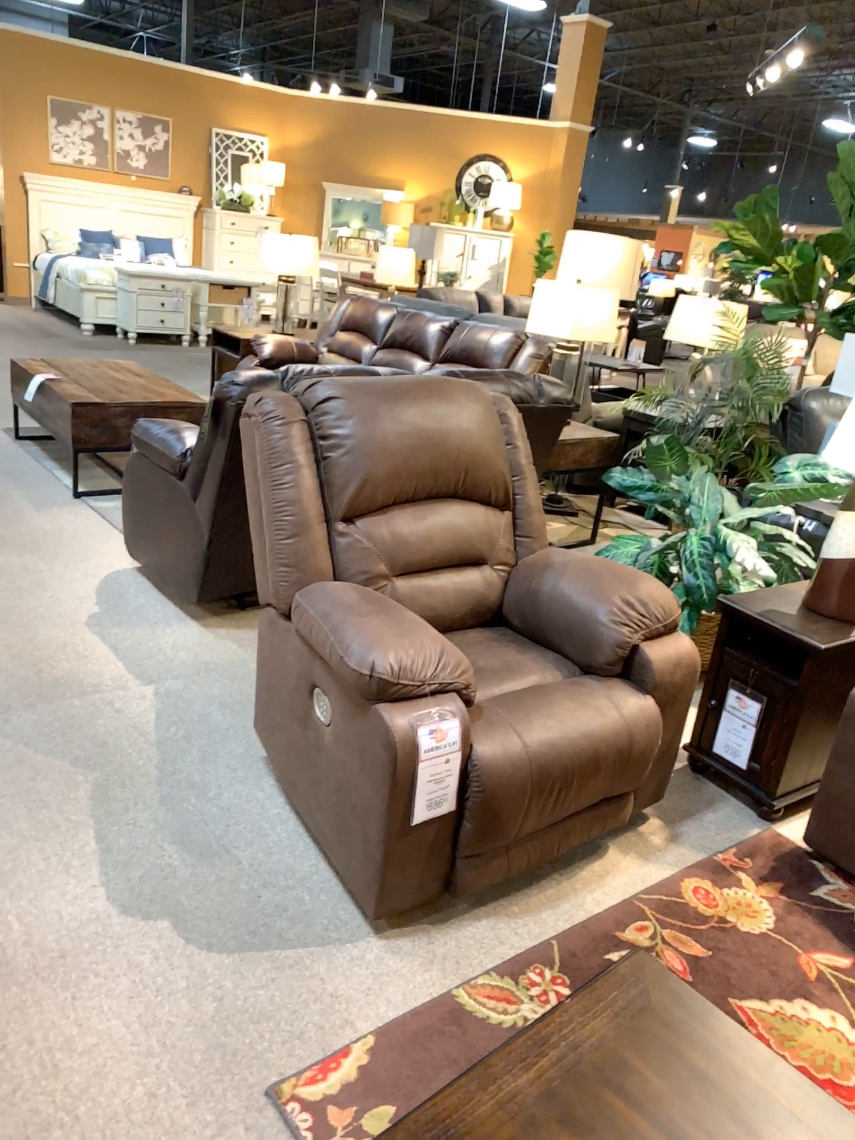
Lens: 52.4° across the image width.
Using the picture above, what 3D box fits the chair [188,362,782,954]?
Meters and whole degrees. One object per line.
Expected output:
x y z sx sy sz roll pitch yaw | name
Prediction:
0.055 0.076 2.321 1.002 1.028 1.068 -7 25 -35 | chair
